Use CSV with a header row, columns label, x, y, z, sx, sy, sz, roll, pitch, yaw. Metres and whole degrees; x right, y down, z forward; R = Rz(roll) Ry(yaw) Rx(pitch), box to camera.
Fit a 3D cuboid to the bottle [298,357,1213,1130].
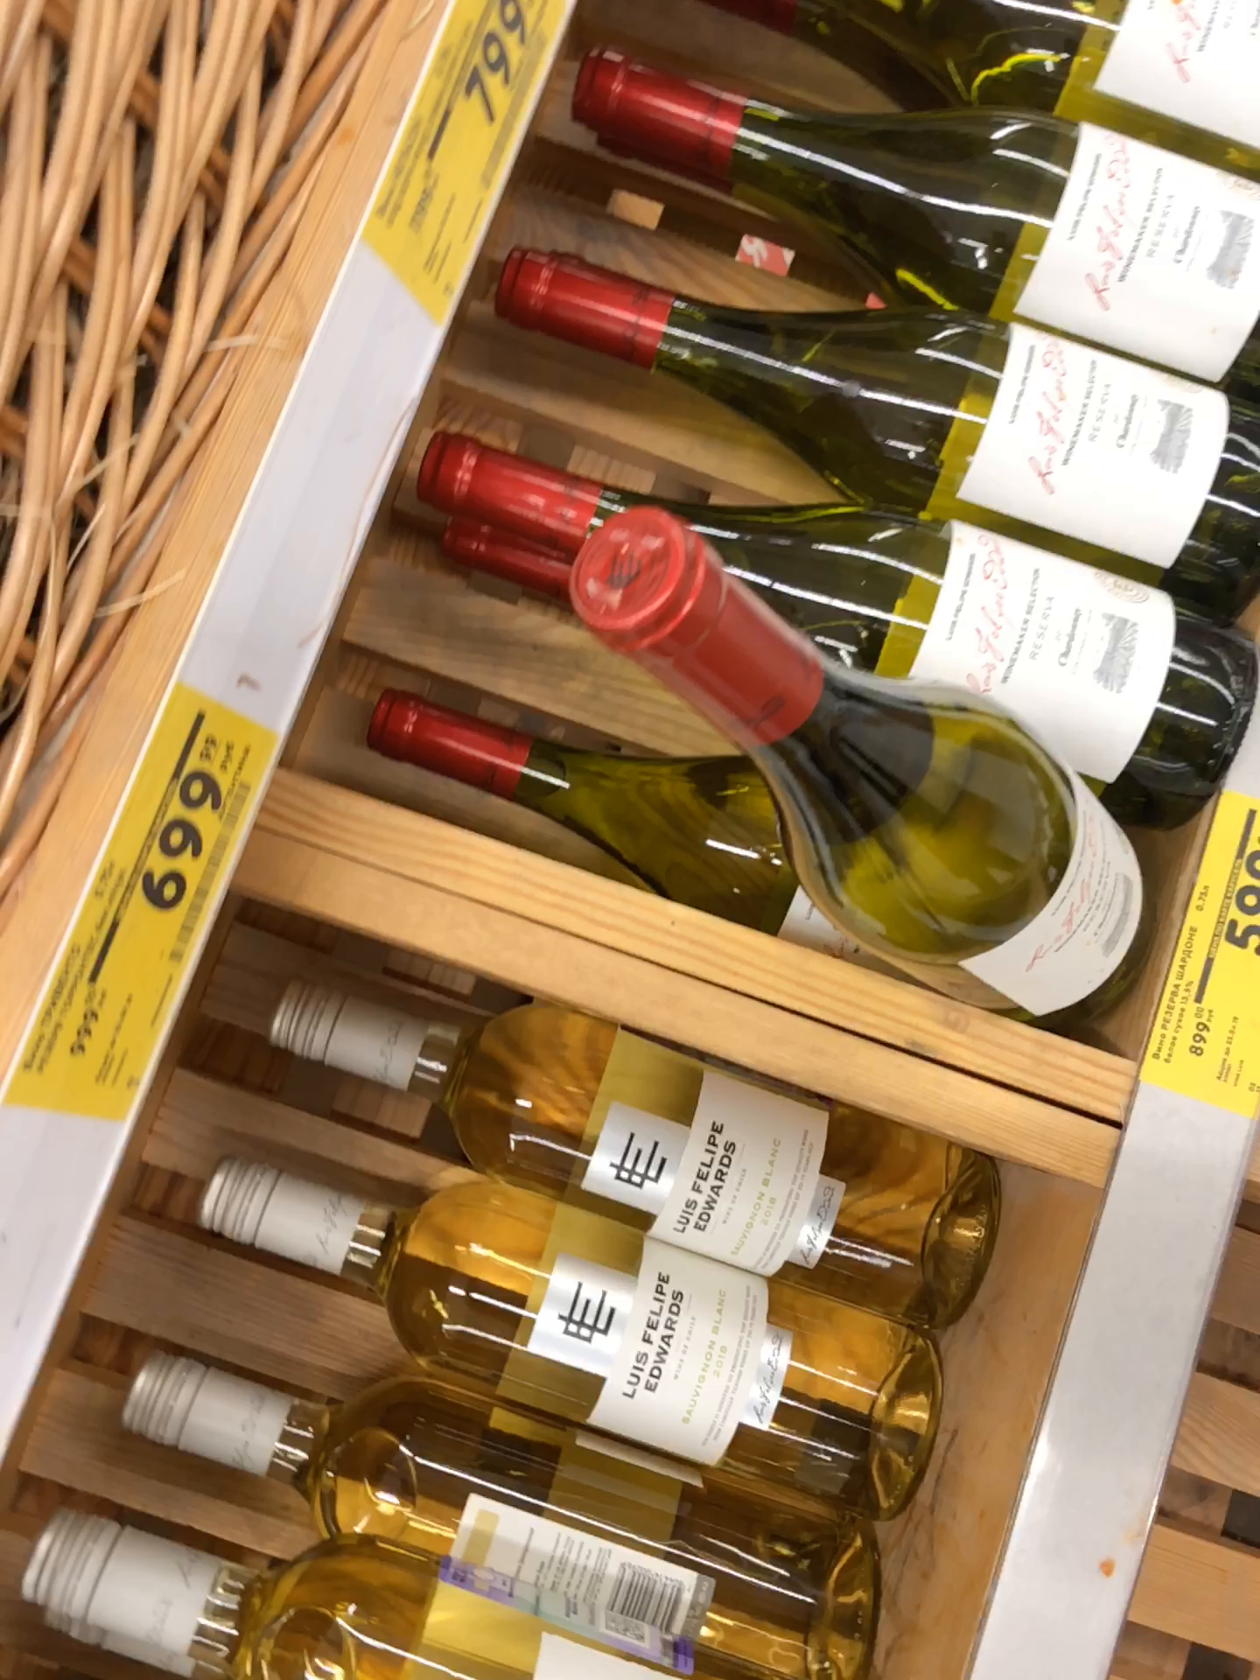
label,x,y,z,sx,sy,sz,roll,pitch,yaw
bottle,0.063,-0.006,0.394,0.100,0.289,0.100,-15,62,31
